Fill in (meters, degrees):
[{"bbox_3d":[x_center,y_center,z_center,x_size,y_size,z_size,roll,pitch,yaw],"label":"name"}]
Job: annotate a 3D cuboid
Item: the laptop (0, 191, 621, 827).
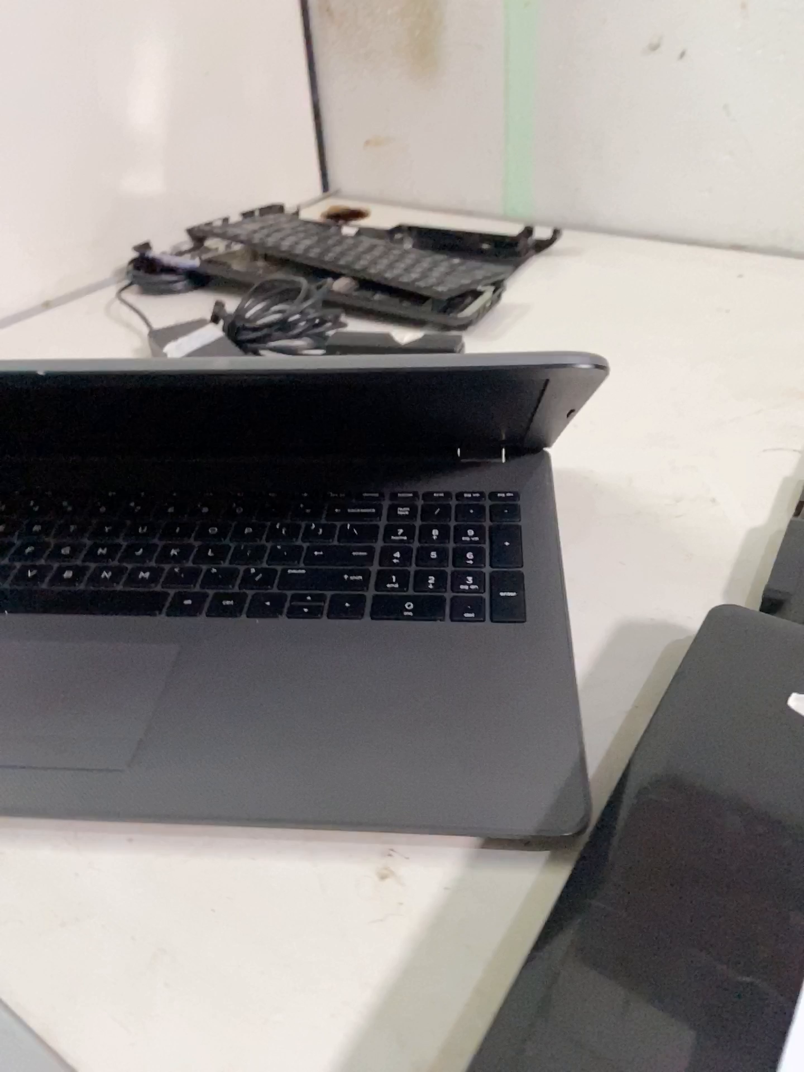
[{"bbox_3d":[-0.121,-0.035,0.358,0.379,0.141,0.249,0,37,6],"label":"laptop"}]
